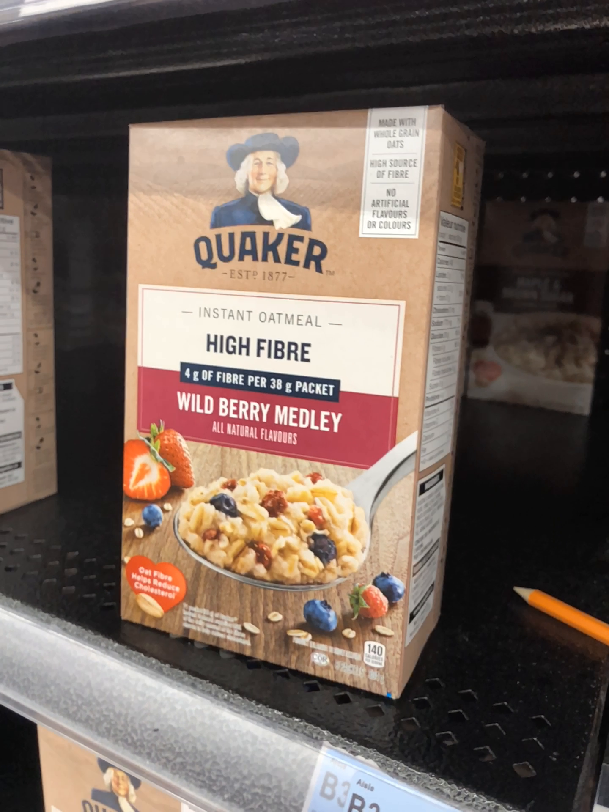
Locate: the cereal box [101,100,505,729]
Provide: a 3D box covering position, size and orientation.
[{"bbox_3d":[-0.004,-0.003,0.271,0.130,0.200,0.070,8,11,23],"label":"cereal box"}]
